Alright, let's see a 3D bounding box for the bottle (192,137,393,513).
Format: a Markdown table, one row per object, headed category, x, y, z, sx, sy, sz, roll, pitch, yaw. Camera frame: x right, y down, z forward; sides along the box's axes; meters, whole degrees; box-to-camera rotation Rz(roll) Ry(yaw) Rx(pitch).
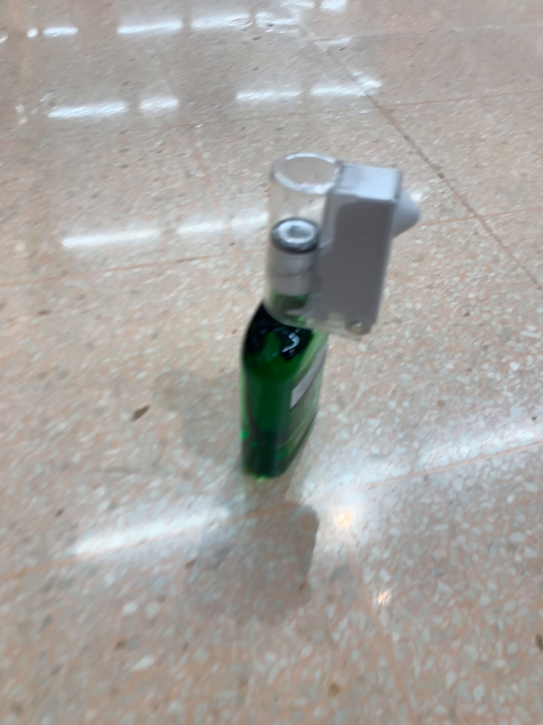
| category | x | y | z | sx | sy | sz | roll | pitch | yaw |
| --- | --- | --- | --- | --- | --- | --- | --- | --- | --- |
| bottle | 0.011 | -0.010 | 0.333 | 0.055 | 0.203 | 0.103 | 22 | 51 | 16 |
